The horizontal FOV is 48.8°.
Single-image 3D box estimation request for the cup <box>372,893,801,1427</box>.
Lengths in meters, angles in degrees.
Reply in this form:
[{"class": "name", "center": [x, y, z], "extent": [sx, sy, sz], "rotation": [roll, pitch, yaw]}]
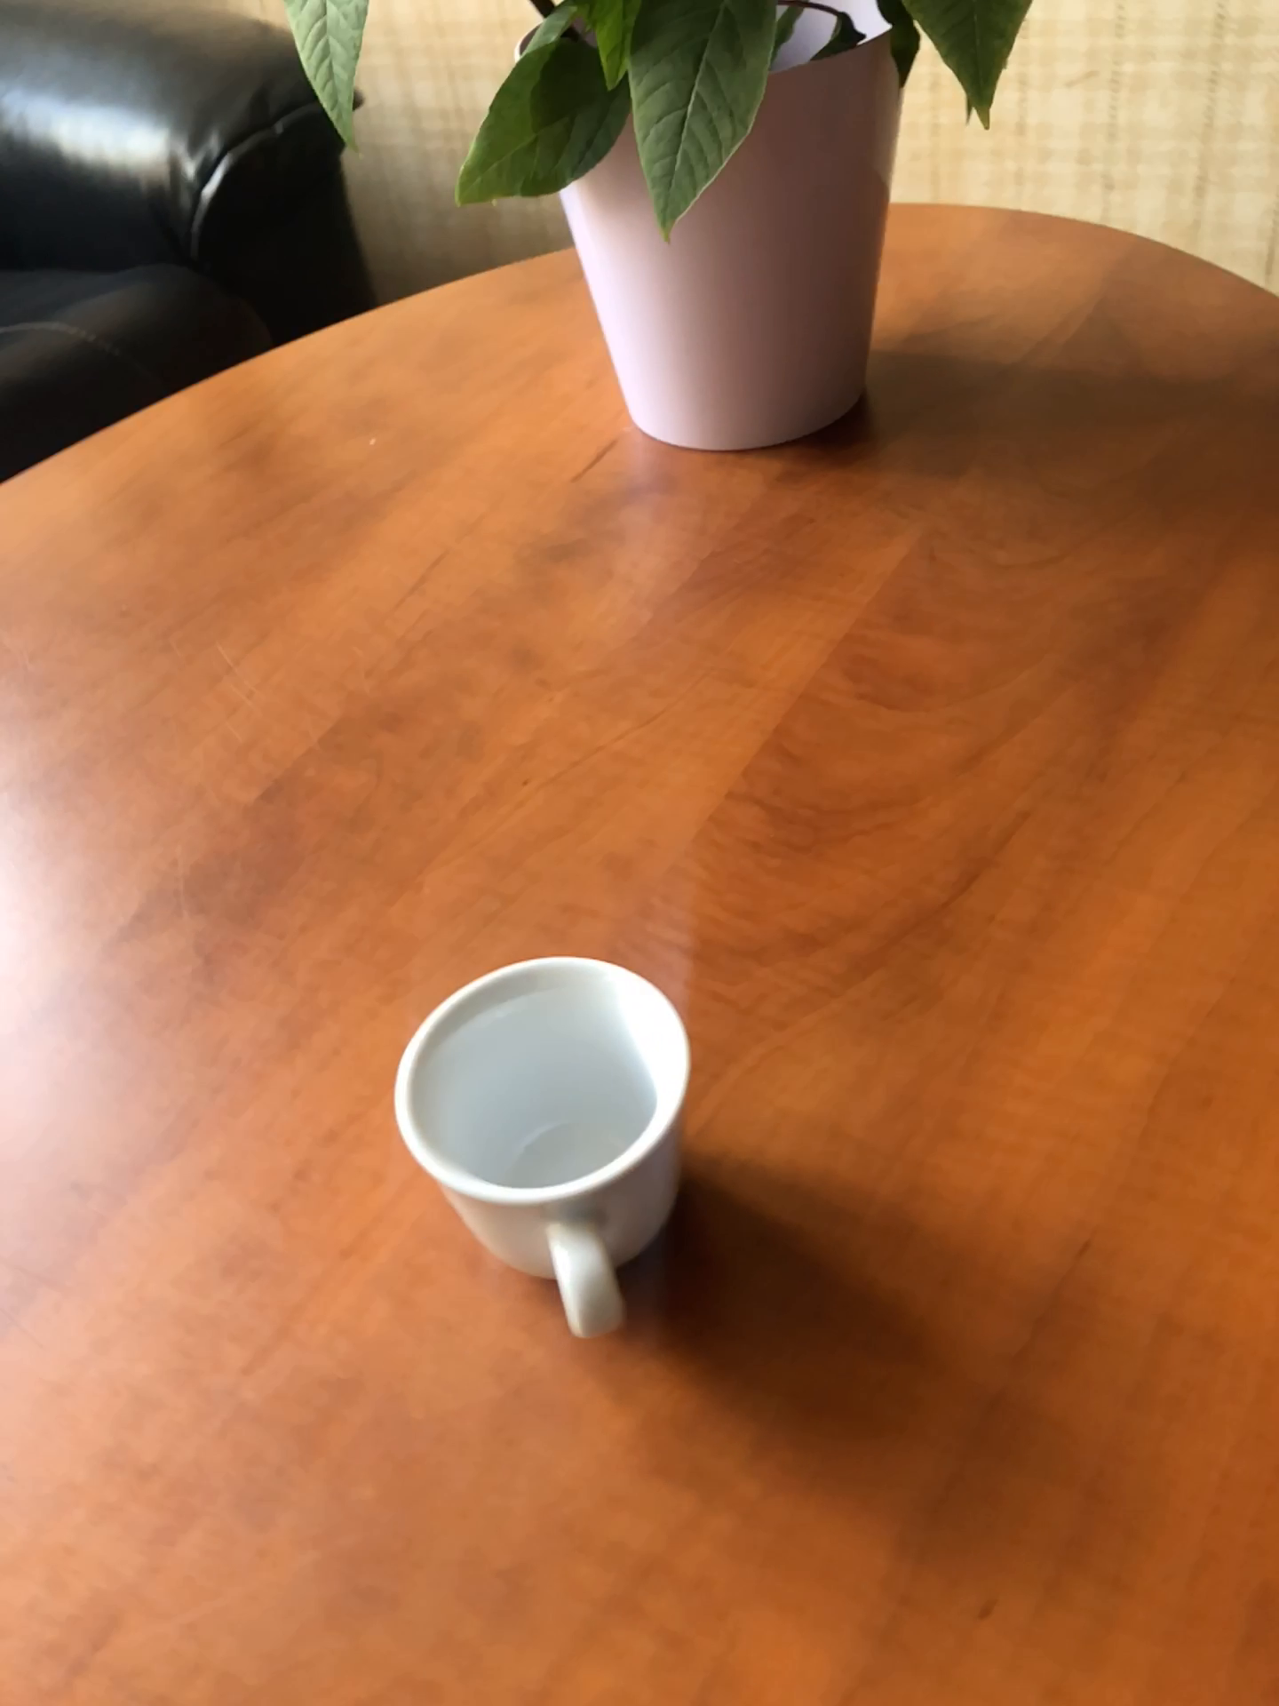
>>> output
[{"class": "cup", "center": [-0.013, 0.063, 0.305], "extent": [0.065, 0.050, 0.083], "rotation": [-18, 44, -9]}]
